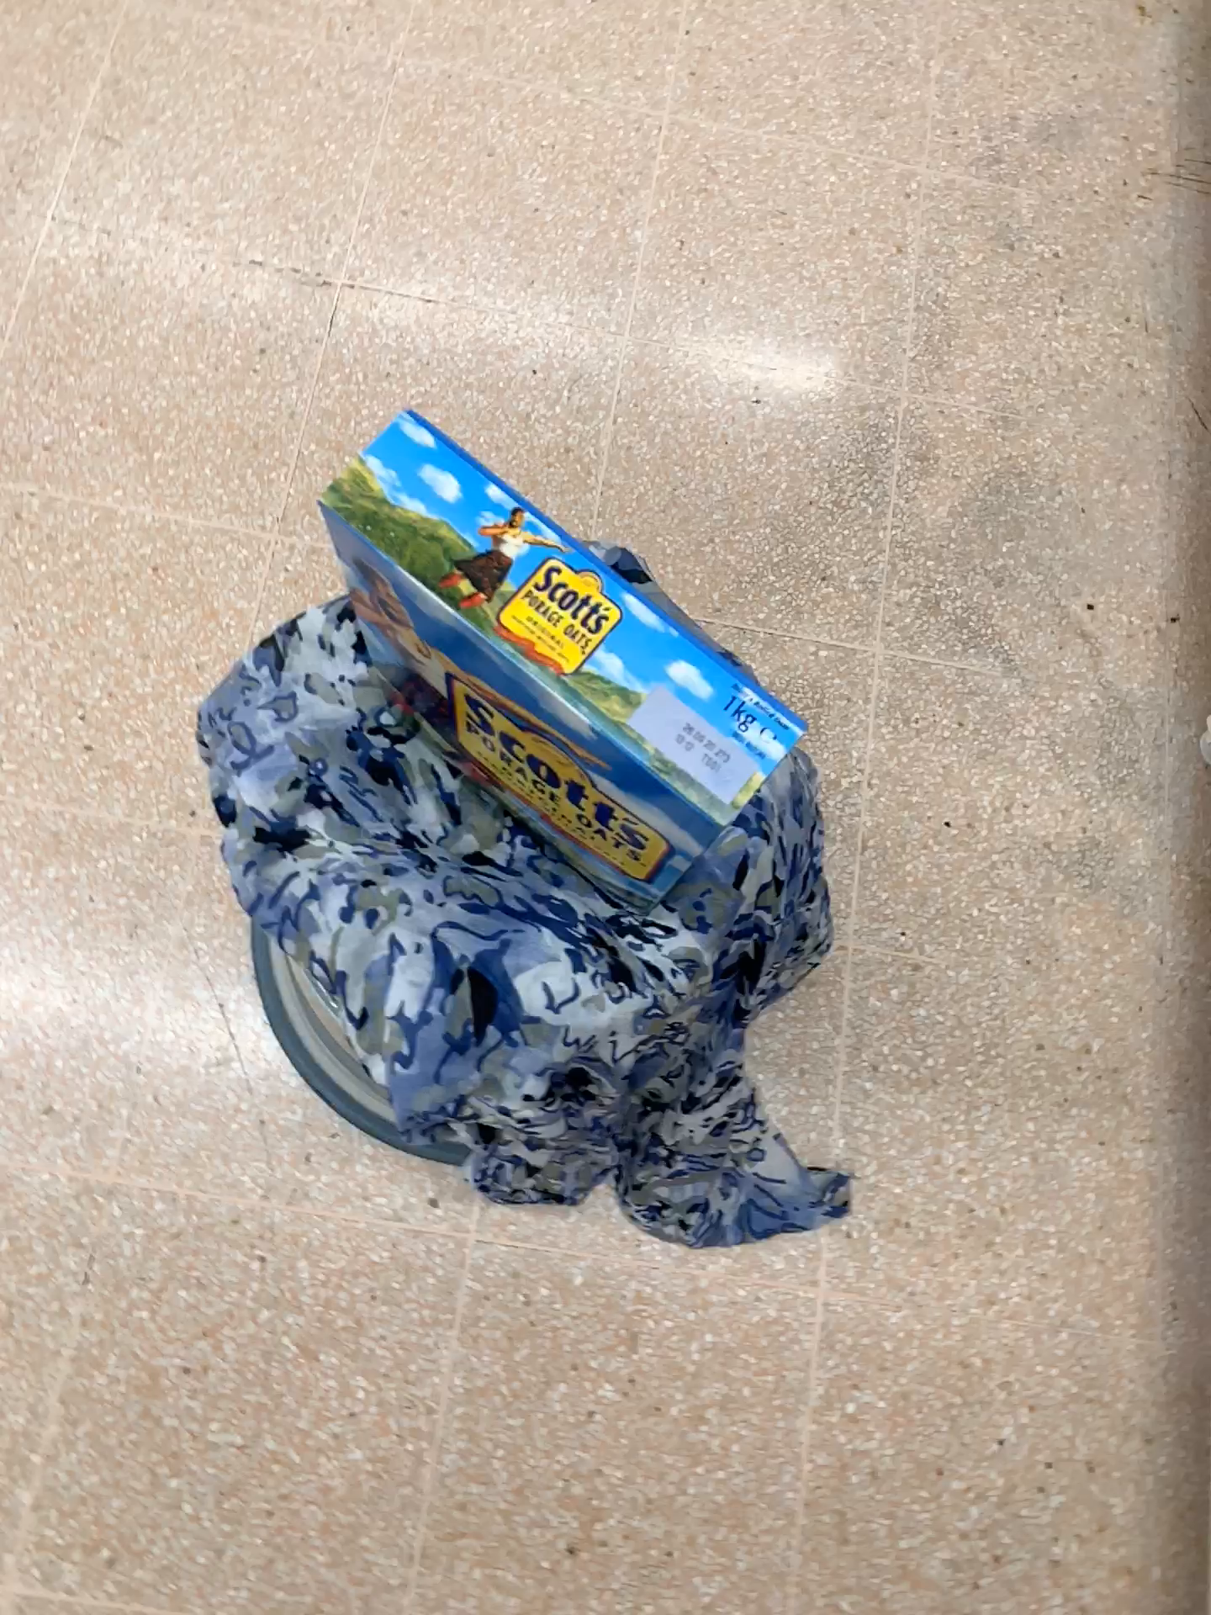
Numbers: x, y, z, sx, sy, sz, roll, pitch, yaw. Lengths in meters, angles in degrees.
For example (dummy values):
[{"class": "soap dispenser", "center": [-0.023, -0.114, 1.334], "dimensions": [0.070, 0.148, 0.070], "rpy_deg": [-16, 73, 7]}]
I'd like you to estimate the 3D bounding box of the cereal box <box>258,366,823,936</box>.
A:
[{"class": "cereal box", "center": [-0.033, -0.046, 0.557], "dimensions": [0.210, 0.249, 0.060], "rpy_deg": [39, 78, 5]}]
